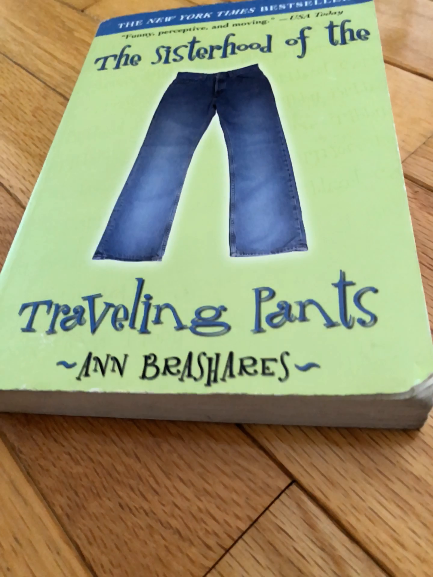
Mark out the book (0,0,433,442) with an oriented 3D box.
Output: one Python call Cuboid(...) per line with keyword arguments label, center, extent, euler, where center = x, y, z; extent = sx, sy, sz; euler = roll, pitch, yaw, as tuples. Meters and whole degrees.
Cuboid(label="book", center=(-0.005, -0.050, 0.195), extent=(0.141, 0.025, 0.210), euler=(-1, 55, 10))
